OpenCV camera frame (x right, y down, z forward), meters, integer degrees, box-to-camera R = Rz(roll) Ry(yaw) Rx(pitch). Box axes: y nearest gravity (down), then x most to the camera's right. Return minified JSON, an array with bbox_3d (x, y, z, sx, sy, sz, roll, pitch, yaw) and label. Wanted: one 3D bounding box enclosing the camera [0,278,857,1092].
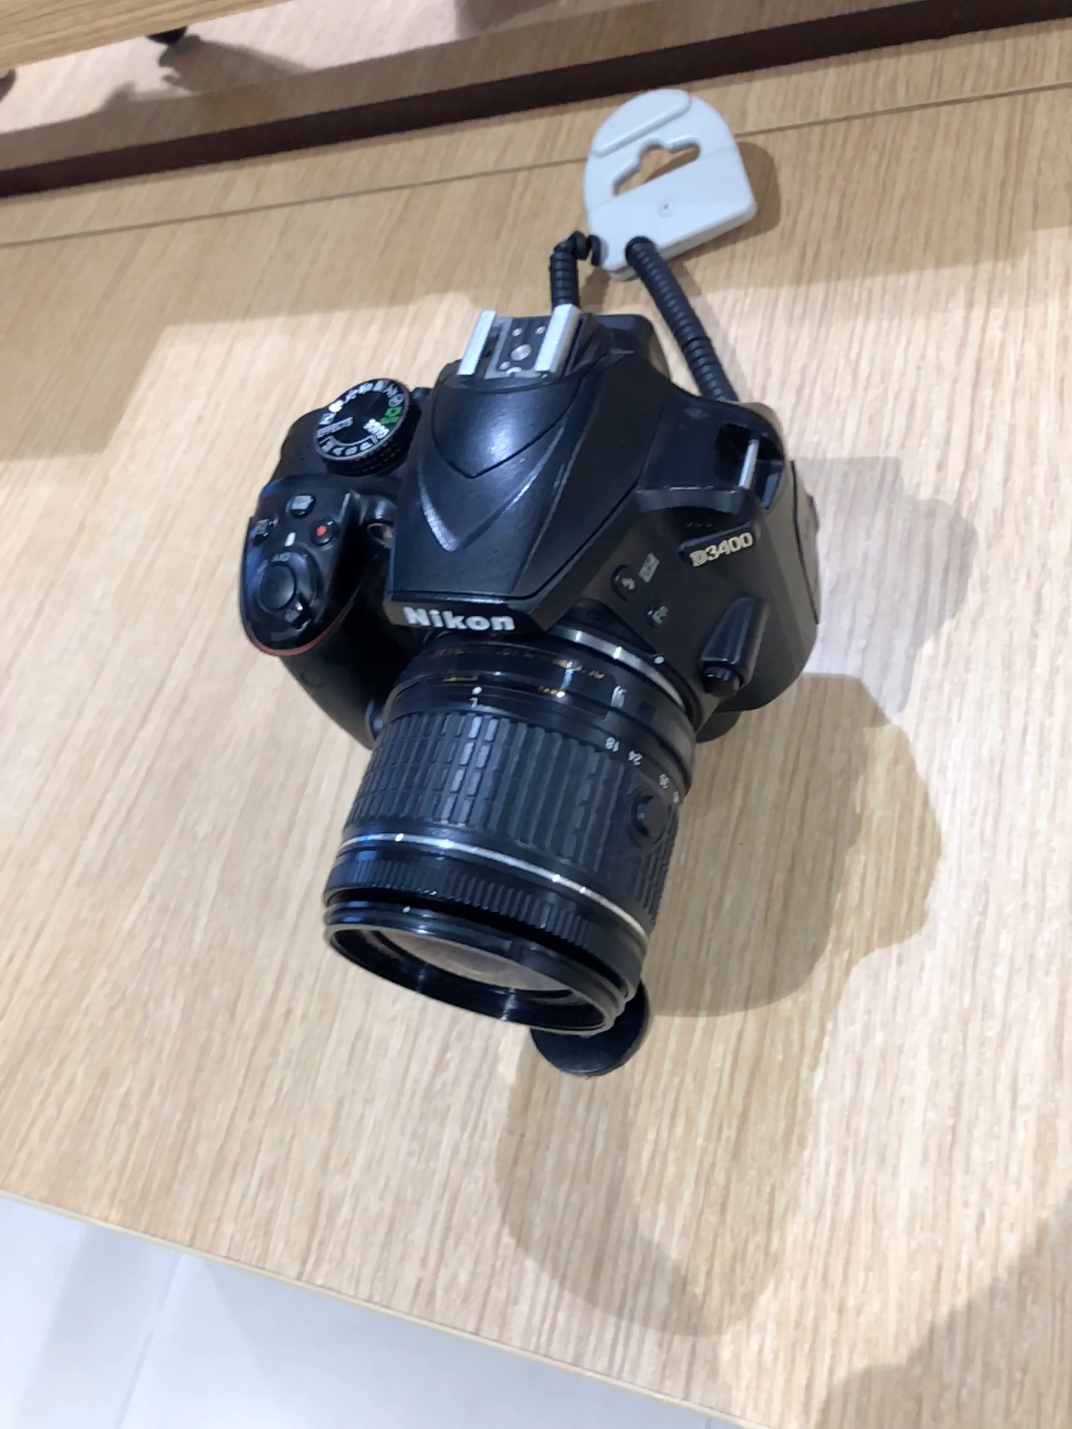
[{"bbox_3d":[-0.016,-0.006,0.243,0.133,0.084,0.120,4,62,25],"label":"camera"}]
